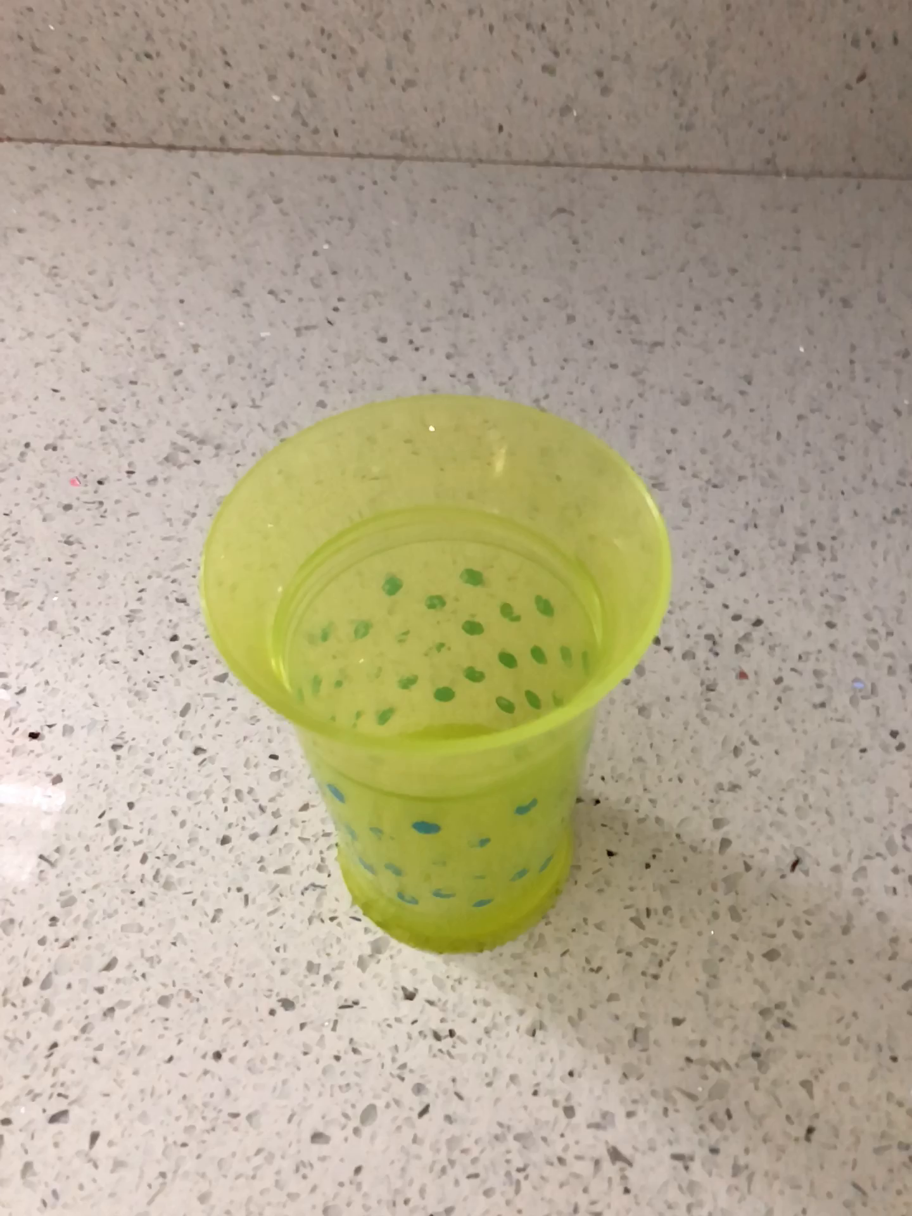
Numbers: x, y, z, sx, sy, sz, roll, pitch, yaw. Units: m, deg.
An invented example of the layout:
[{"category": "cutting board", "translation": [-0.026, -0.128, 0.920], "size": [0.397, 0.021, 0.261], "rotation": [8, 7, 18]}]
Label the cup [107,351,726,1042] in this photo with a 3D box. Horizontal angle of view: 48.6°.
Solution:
[{"category": "cup", "translation": [-0.003, 0.022, 0.213], "size": [0.078, 0.109, 0.073], "rotation": [-1, 51, 2]}]
